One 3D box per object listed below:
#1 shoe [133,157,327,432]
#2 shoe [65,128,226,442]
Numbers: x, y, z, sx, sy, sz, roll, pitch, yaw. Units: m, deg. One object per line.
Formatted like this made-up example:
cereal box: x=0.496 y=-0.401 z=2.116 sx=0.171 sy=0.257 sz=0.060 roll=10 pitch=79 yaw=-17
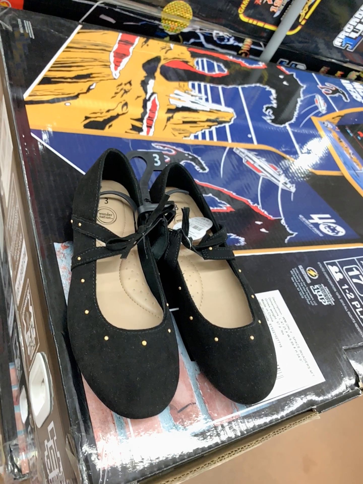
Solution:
shoe: x=0.033 y=0.037 z=0.373 sx=0.090 sy=0.070 sz=0.250 roll=-3 pitch=60 yaw=-28
shoe: x=-0.045 y=0.023 z=0.316 sx=0.090 sy=0.070 sz=0.240 roll=4 pitch=57 yaw=-24
